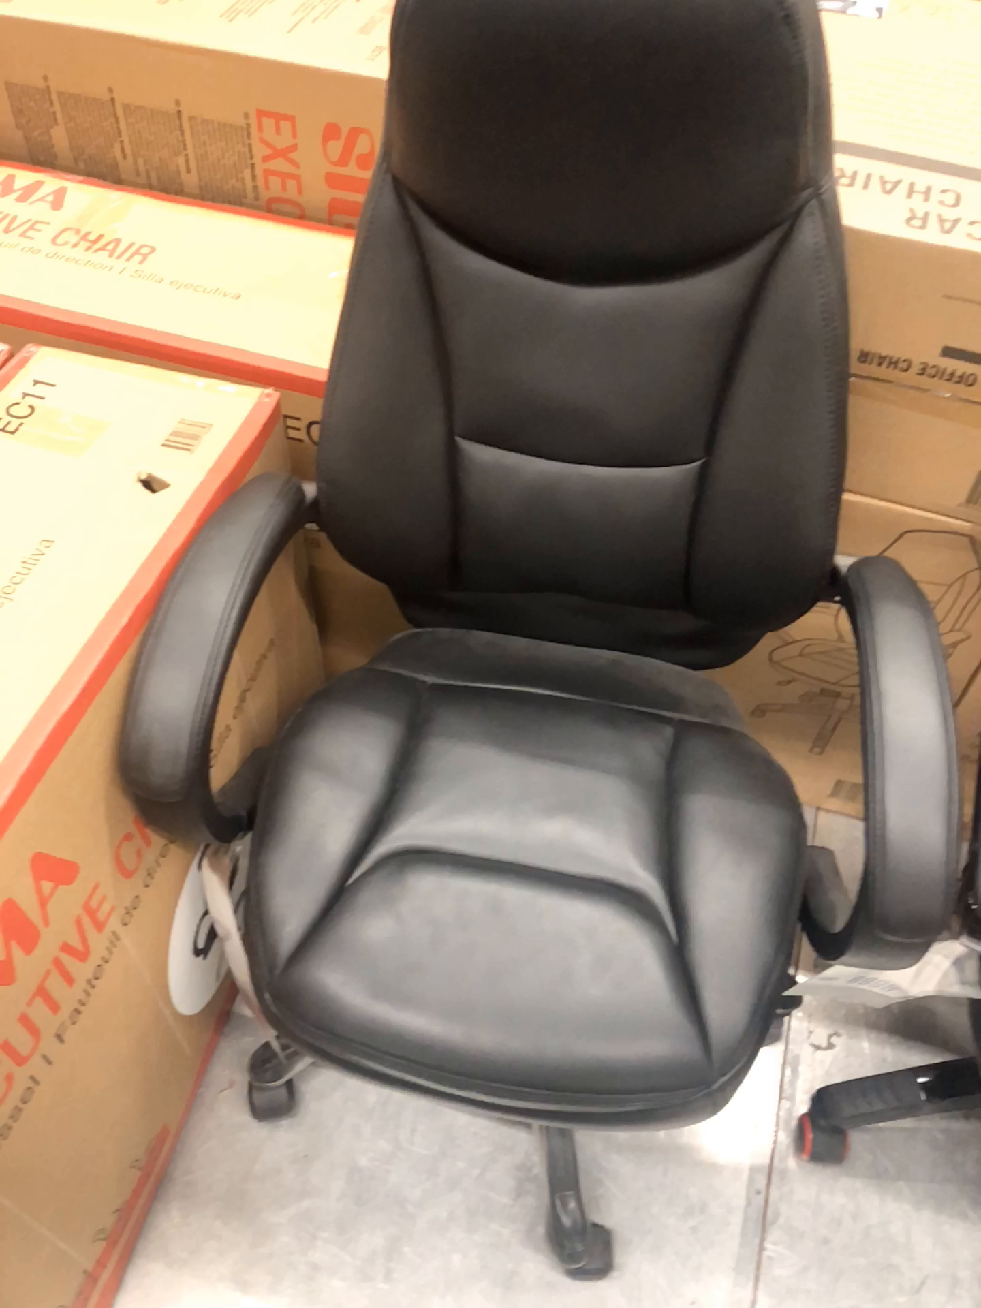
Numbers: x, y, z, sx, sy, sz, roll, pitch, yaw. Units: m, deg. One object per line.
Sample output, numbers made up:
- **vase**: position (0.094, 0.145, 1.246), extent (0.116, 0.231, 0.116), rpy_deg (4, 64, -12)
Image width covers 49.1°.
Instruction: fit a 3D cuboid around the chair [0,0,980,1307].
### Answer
- **chair**: position (0.052, 0.050, 1.001), extent (0.720, 1.063, 0.745), rpy_deg (8, 50, 4)
